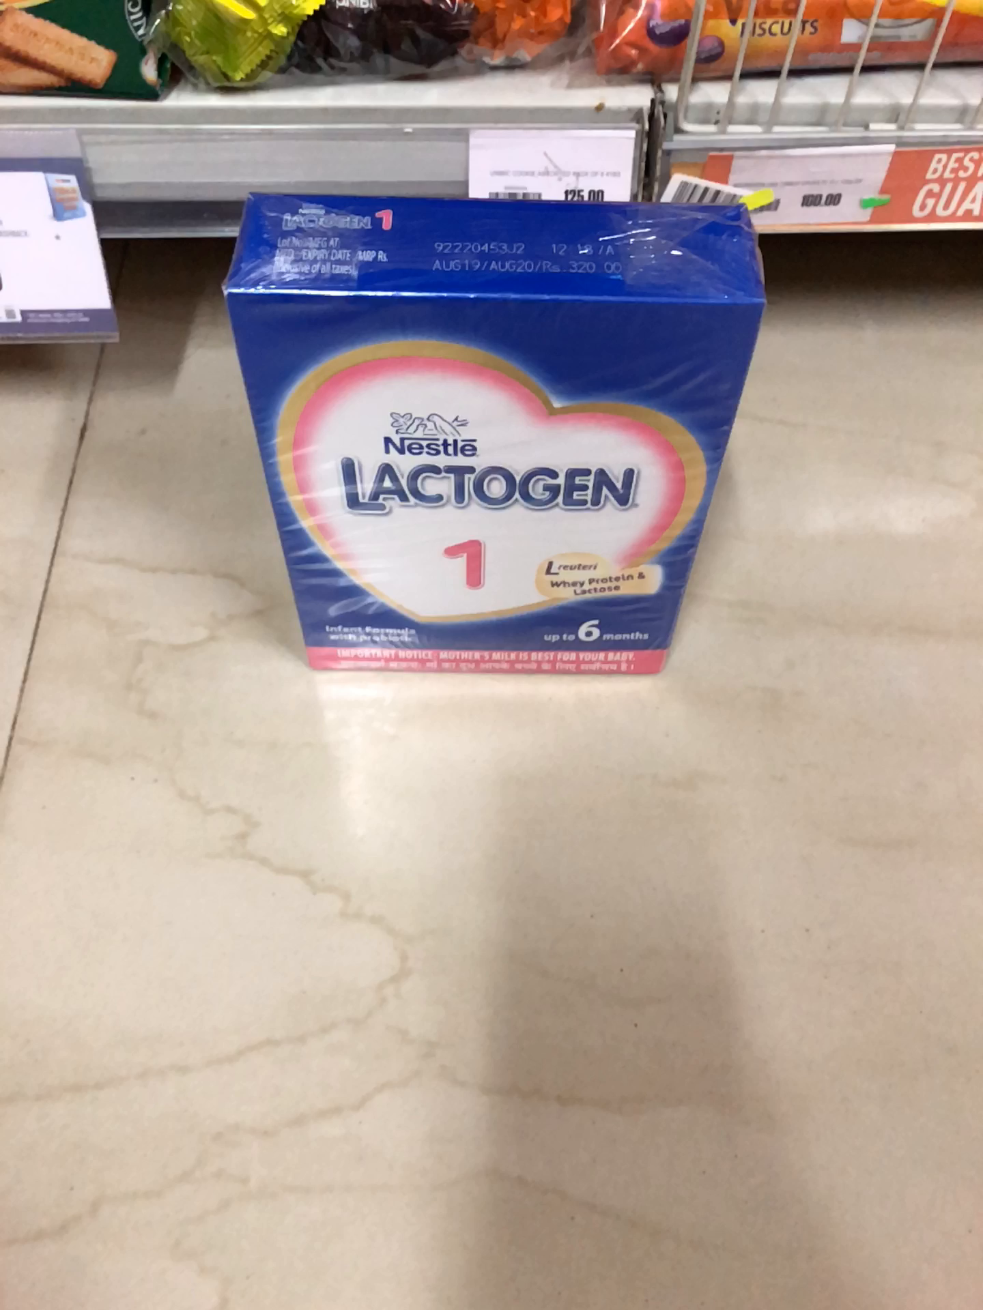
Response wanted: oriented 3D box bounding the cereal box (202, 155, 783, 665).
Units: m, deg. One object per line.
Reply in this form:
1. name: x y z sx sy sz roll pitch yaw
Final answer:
1. cereal box: -0.002 -0.068 0.375 0.150 0.189 0.050 1 58 -2
